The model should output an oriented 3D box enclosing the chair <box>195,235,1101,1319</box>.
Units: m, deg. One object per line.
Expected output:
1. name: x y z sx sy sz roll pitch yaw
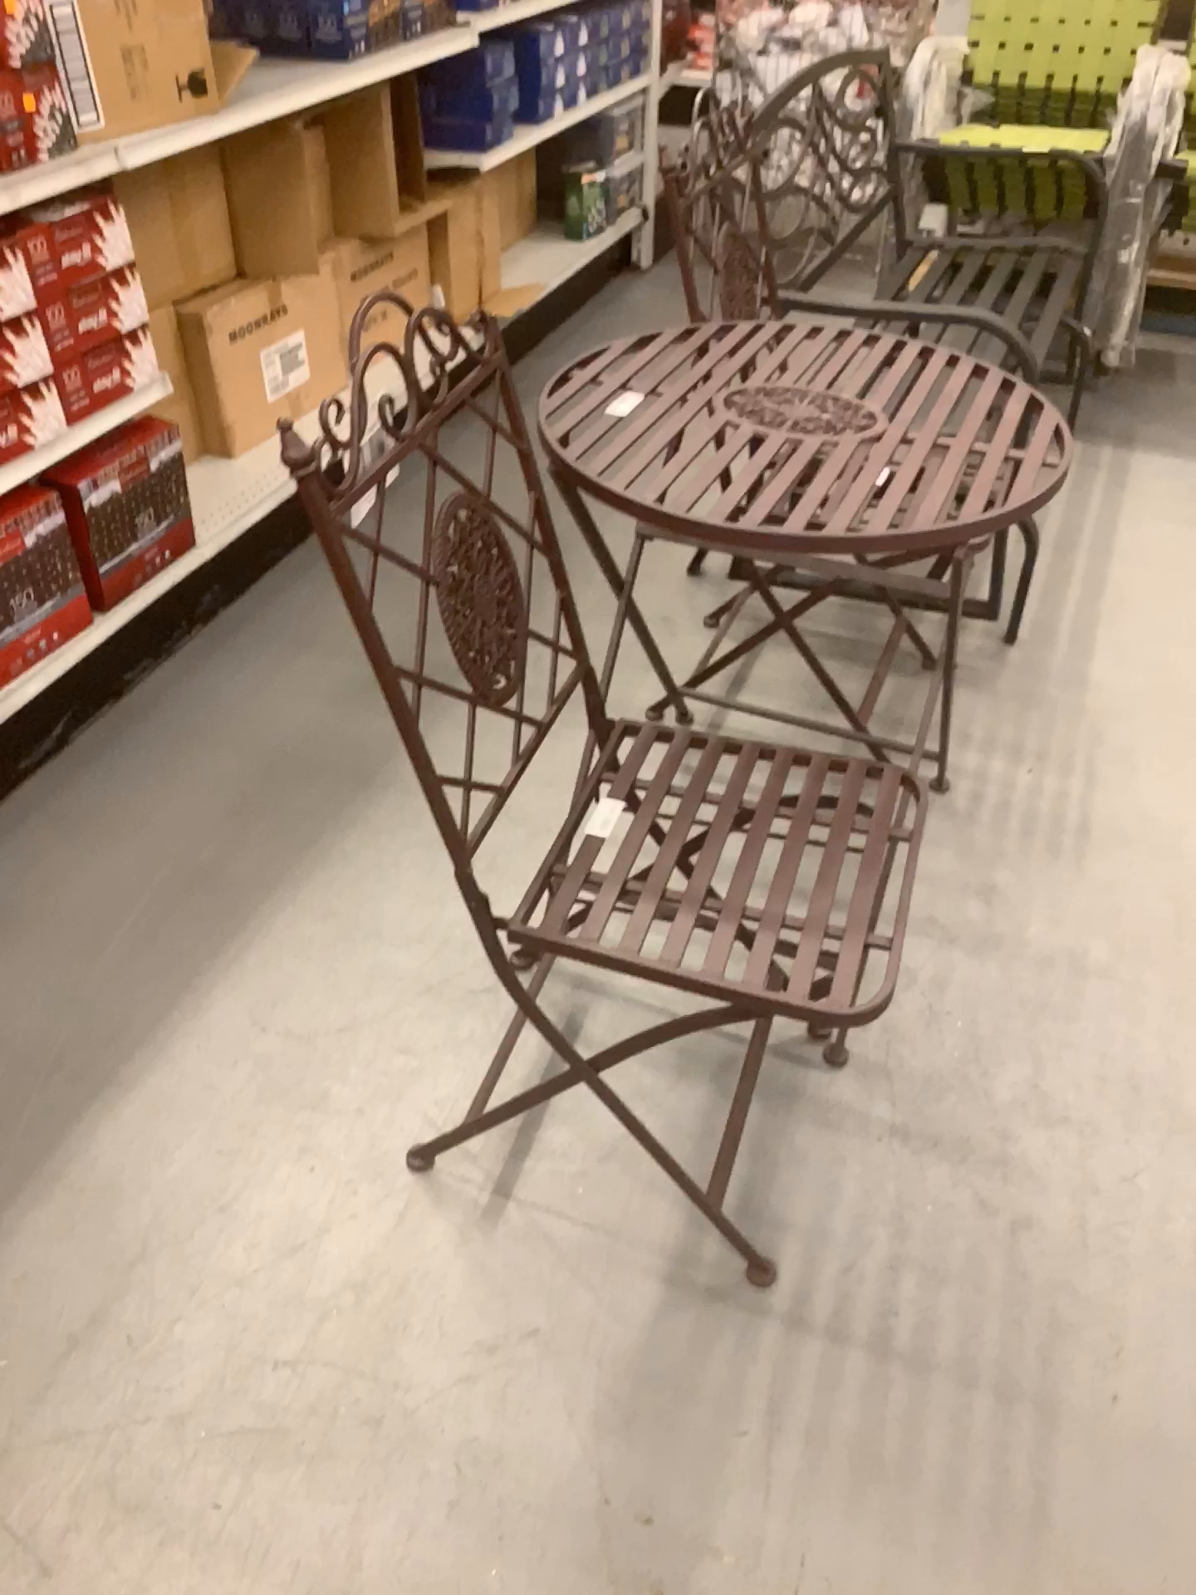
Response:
1. chair: 0.062 0.000 1.159 0.564 0.839 0.424 13 41 14
